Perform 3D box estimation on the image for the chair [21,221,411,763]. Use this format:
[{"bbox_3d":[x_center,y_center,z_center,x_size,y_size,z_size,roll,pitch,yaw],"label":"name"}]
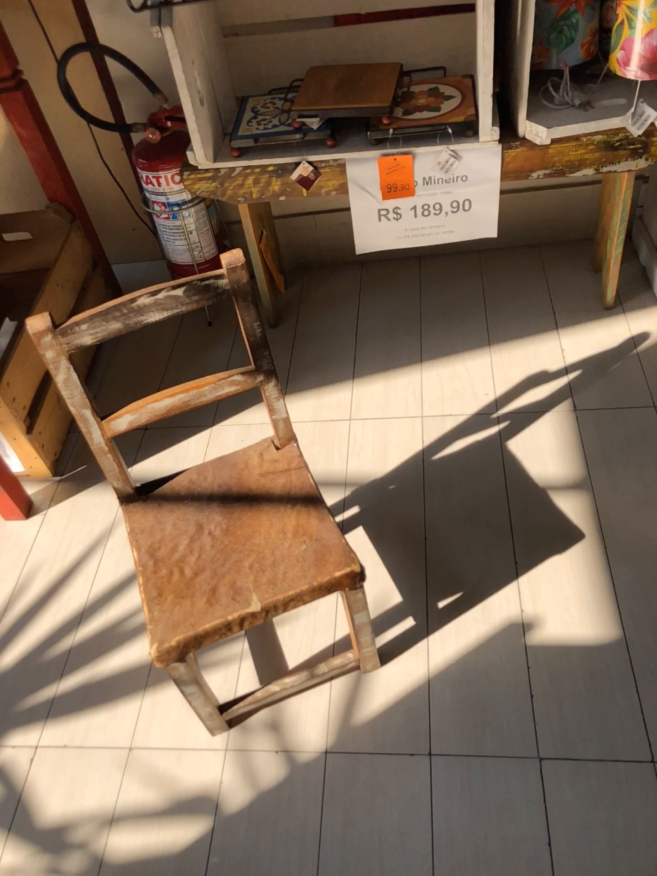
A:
[{"bbox_3d":[-0.118,0.100,0.956,0.300,0.596,0.342,-20,46,-9],"label":"chair"}]
